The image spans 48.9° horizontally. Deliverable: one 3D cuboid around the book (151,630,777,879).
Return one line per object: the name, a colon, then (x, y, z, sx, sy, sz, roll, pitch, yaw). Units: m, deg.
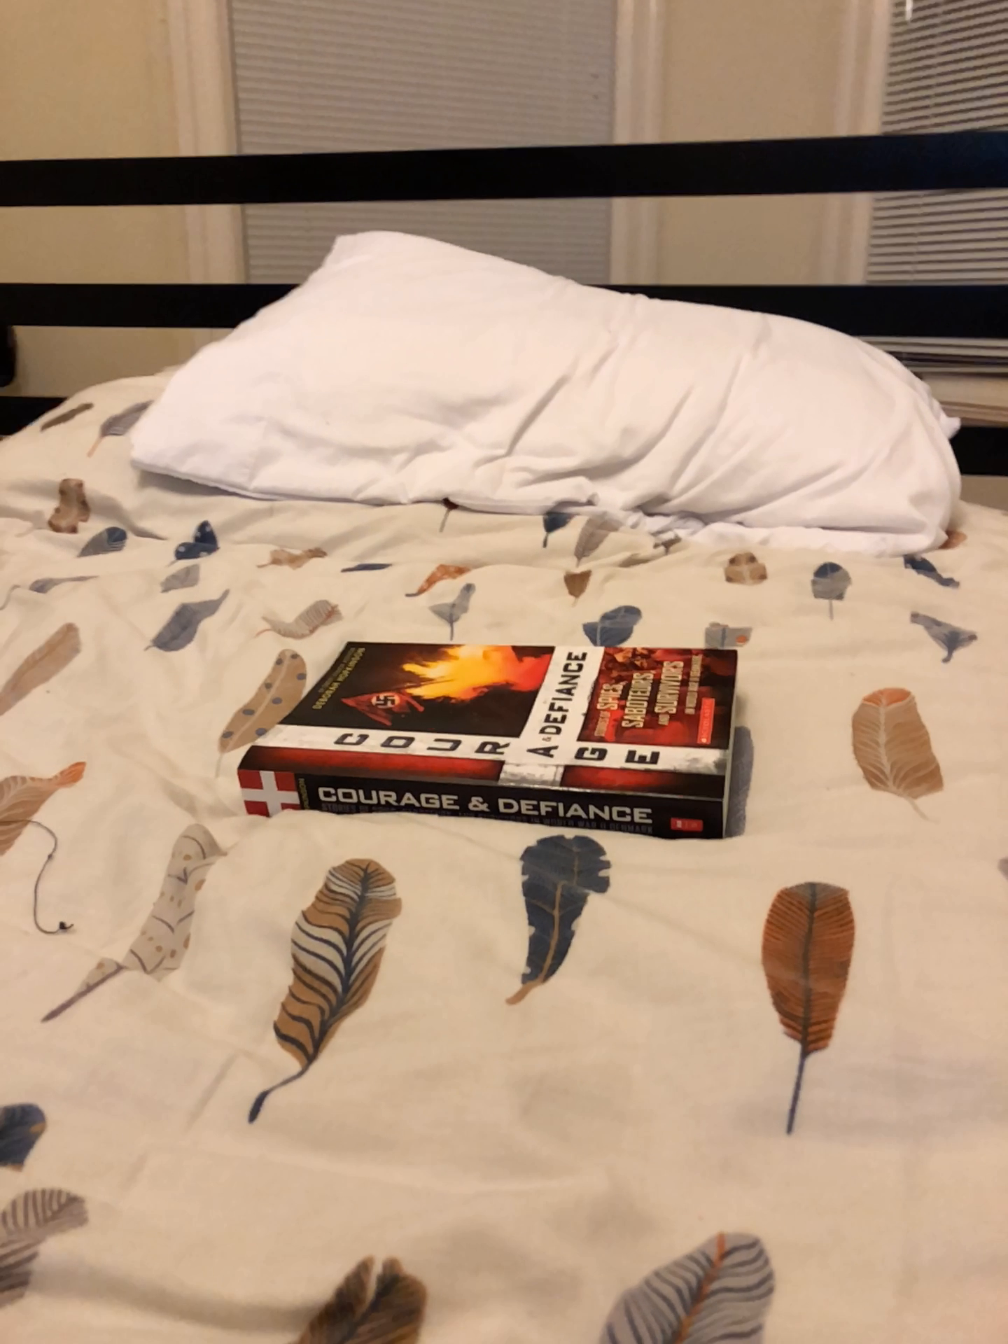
book: (-0.002, 0.025, 0.496, 0.230, 0.020, 0.201, 3, 19, 9)
